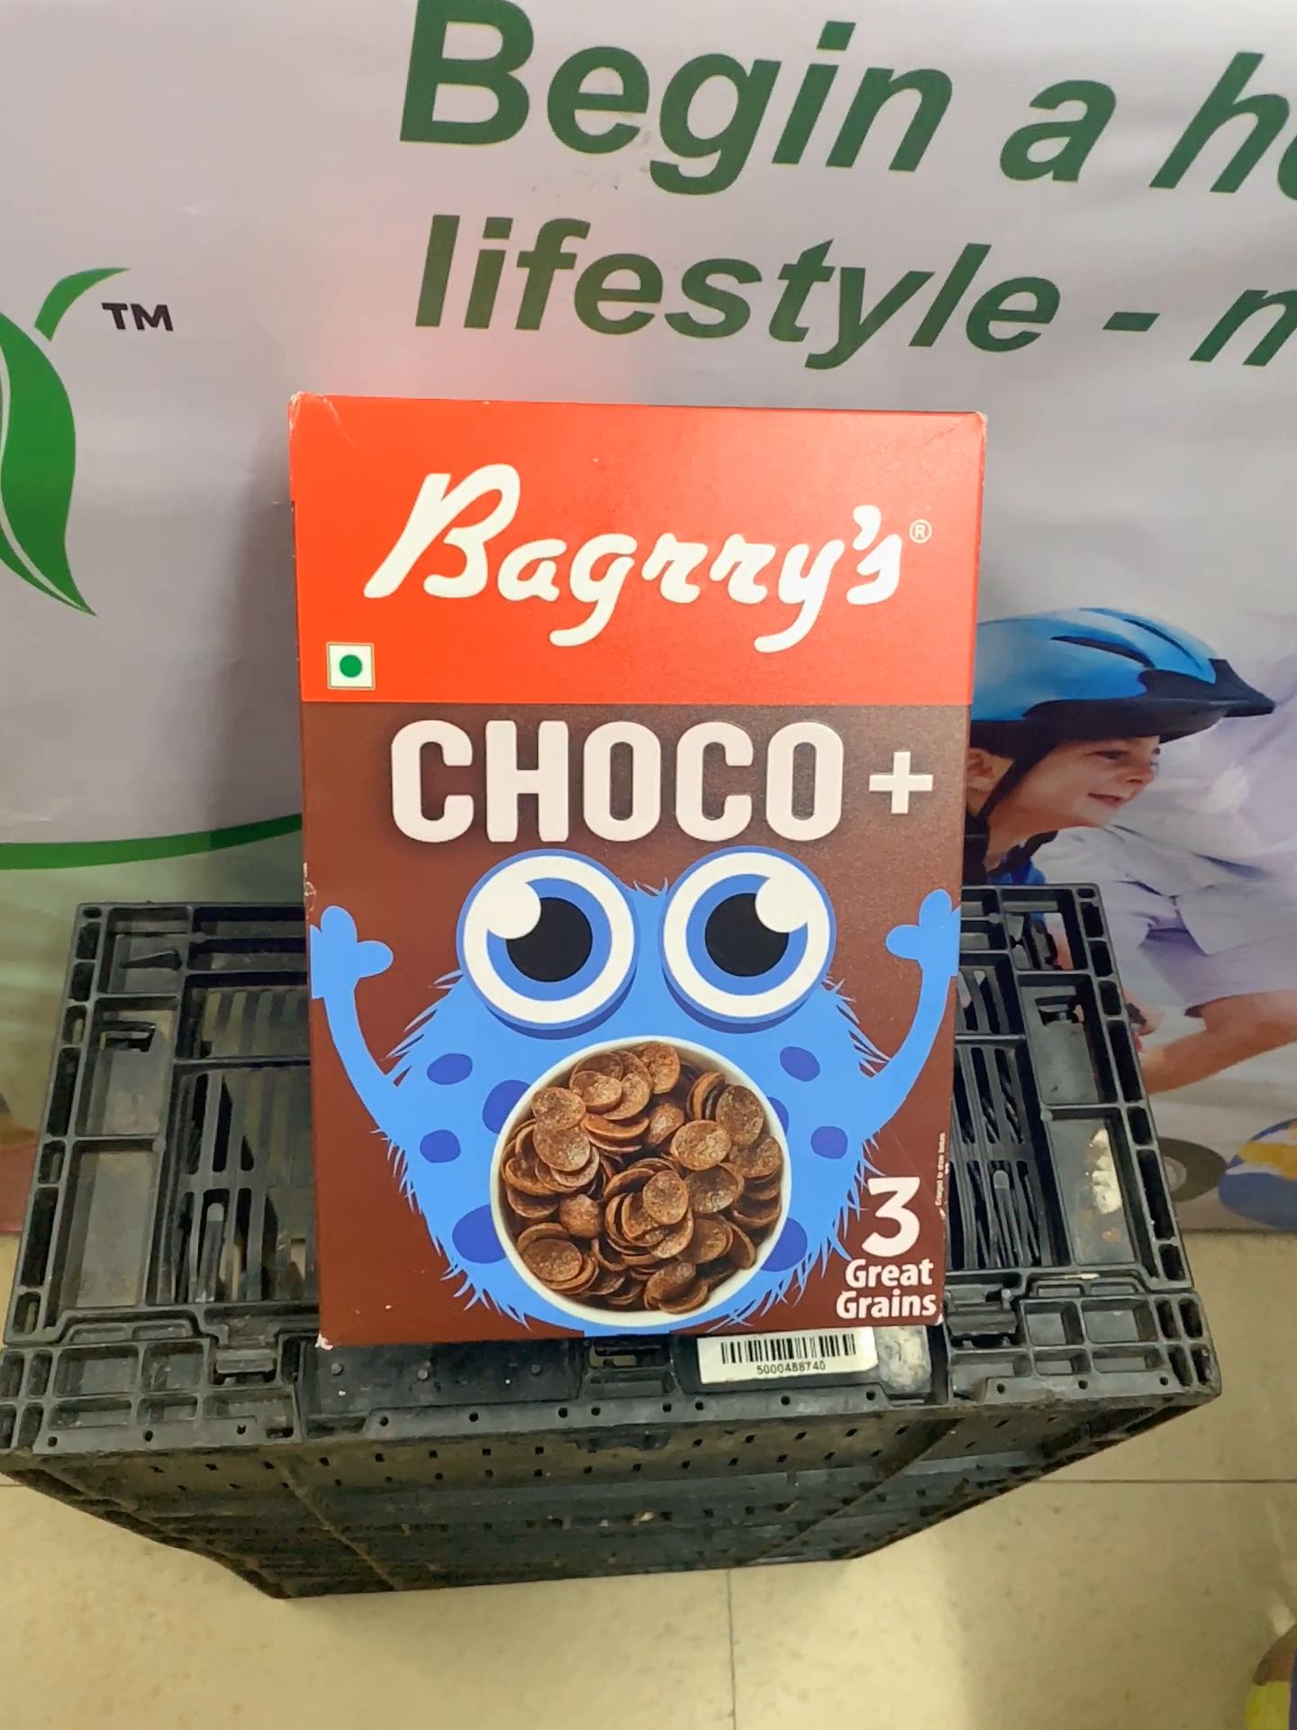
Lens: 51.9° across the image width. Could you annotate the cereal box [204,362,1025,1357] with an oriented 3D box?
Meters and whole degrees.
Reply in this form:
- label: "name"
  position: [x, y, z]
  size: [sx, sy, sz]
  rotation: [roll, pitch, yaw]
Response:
- label: "cereal box"
  position: [-0.011, -0.001, 0.366]
  size: [0.190, 0.080, 0.240]
  rotation: [0, 99, -5]
